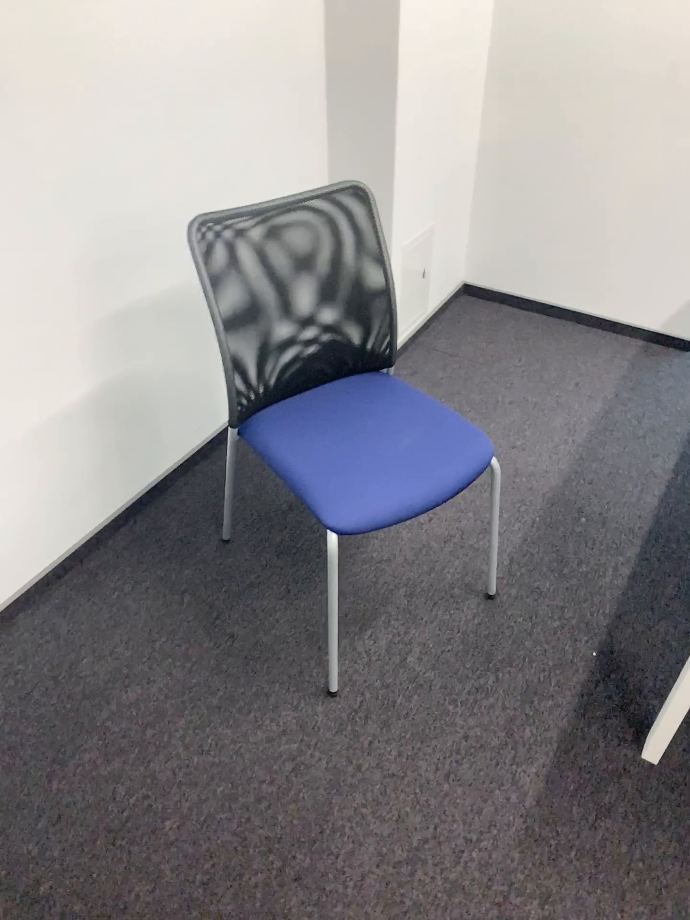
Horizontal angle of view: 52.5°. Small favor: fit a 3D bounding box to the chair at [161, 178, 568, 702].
[{"bbox_3d":[0.013,-0.050,1.543,0.491,0.865,0.592,-23,45,-25],"label":"chair"}]
